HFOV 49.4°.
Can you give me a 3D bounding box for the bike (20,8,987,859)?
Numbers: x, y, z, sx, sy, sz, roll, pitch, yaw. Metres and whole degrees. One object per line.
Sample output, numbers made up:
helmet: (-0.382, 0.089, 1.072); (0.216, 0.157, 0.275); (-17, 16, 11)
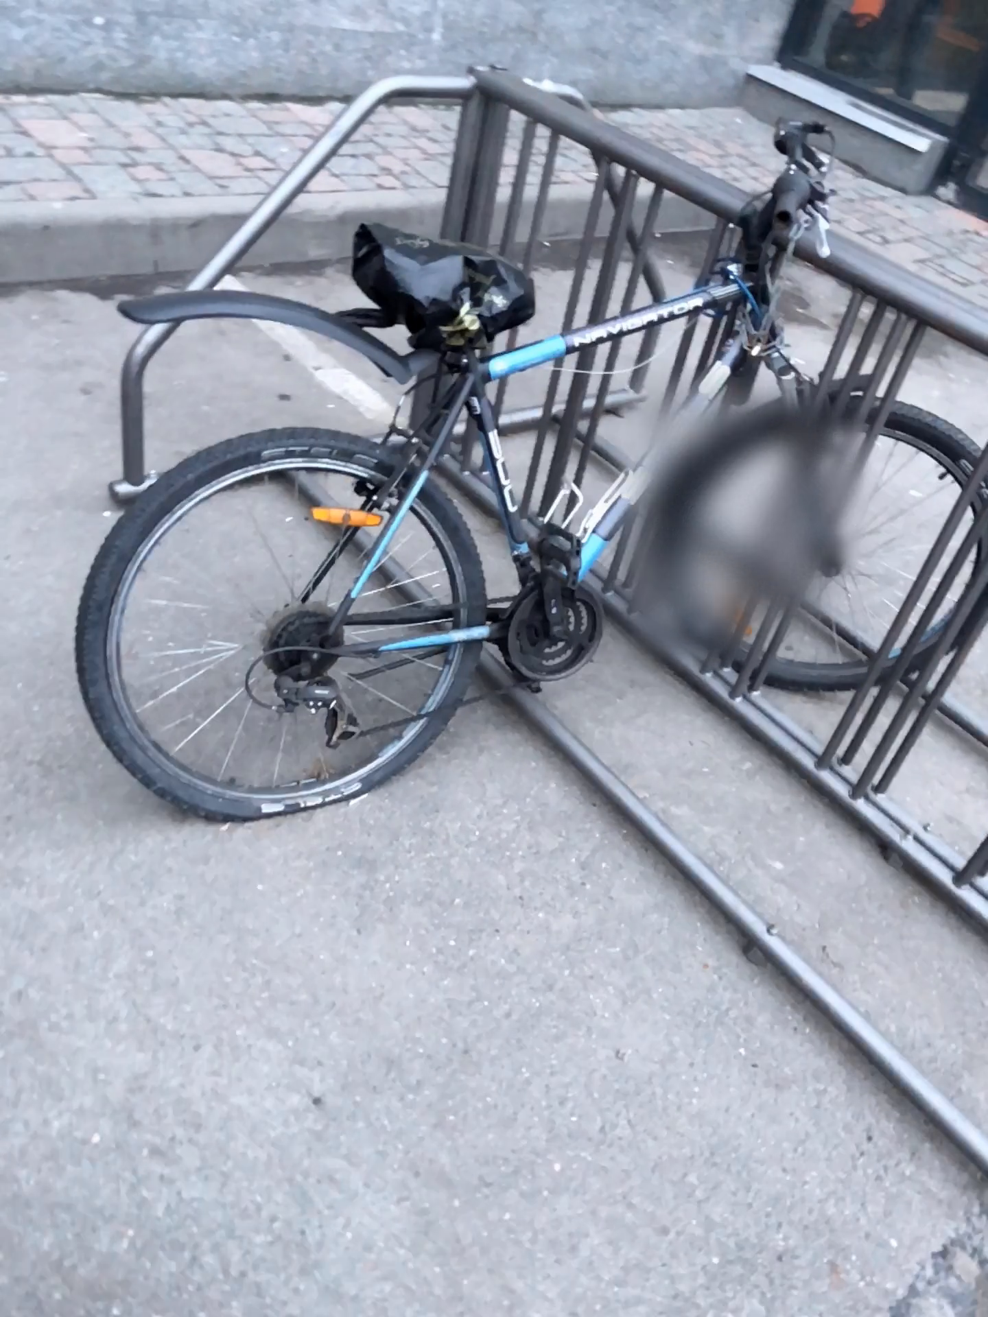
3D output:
bike: (0.134, -0.339, 1.761); (1.586, 1.050, 0.537); (-5, 43, -19)
